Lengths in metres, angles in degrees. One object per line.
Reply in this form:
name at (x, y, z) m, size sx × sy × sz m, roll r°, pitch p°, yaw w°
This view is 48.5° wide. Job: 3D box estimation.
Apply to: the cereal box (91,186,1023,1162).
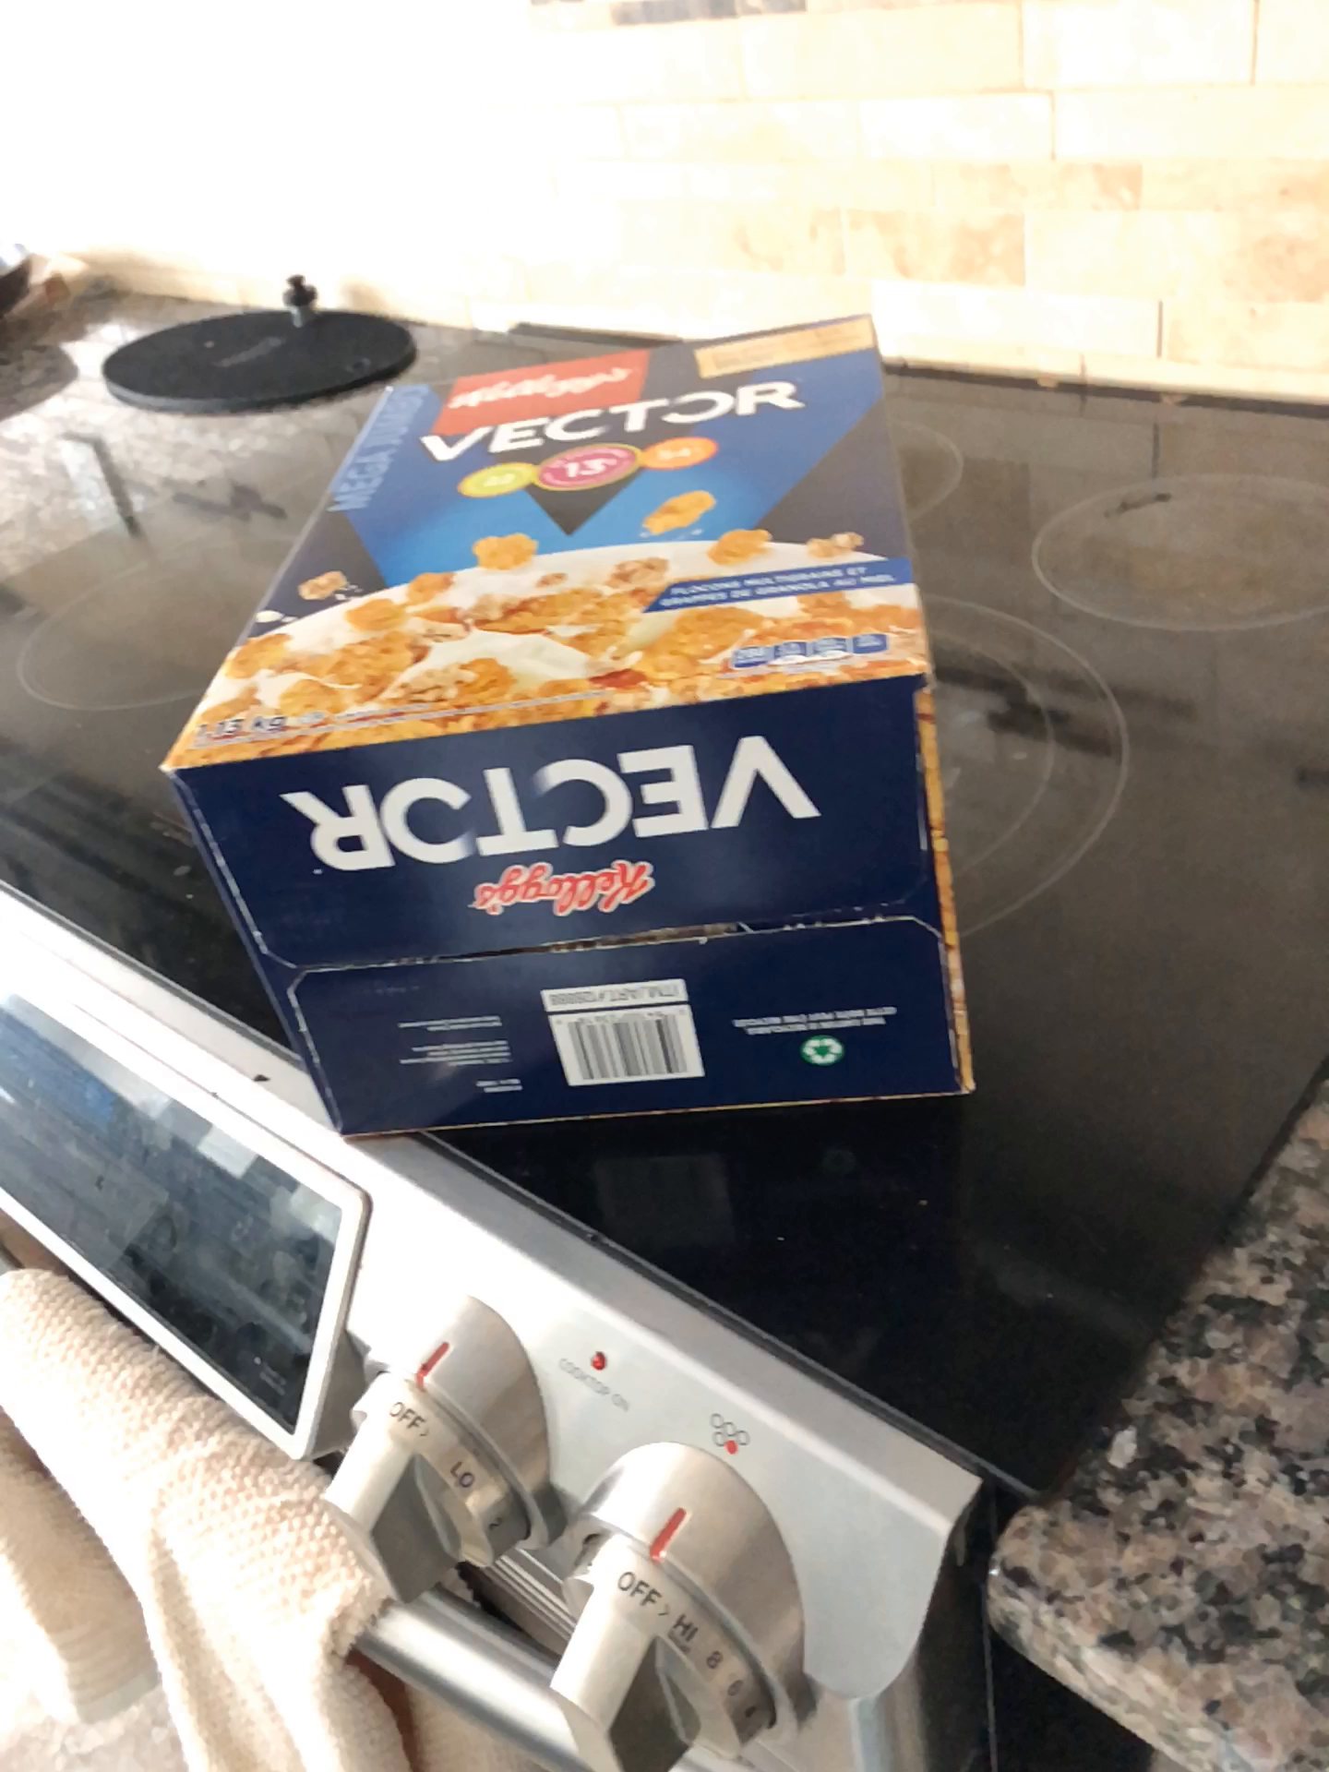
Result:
cereal box at (-0.009, -0.089, 0.512) m, size 0.220 × 0.169 × 0.311 m, roll -5°, pitch 41°, yaw 8°
